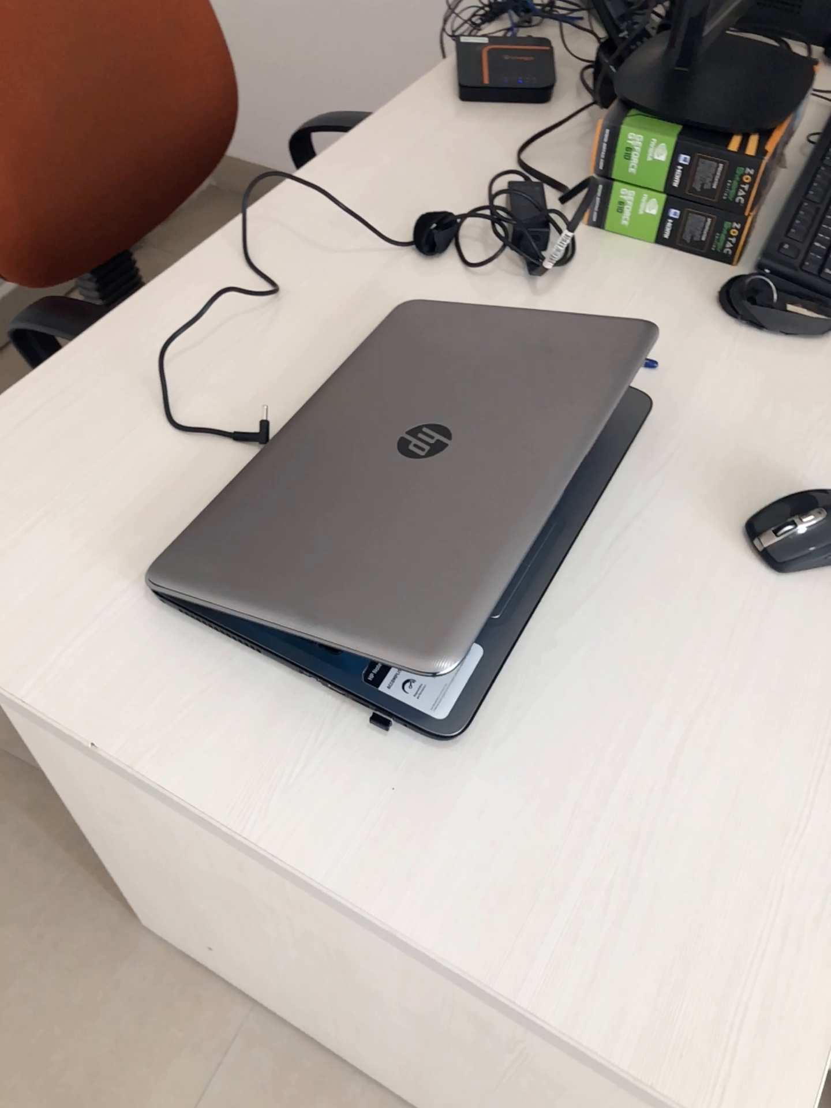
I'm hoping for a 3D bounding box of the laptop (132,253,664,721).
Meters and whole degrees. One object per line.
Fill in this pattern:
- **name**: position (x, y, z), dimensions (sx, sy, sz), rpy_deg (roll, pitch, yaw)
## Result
- **laptop**: position (0.007, -0.077, 0.674), dimensions (0.226, 0.062, 0.357), rpy_deg (23, 54, 17)
